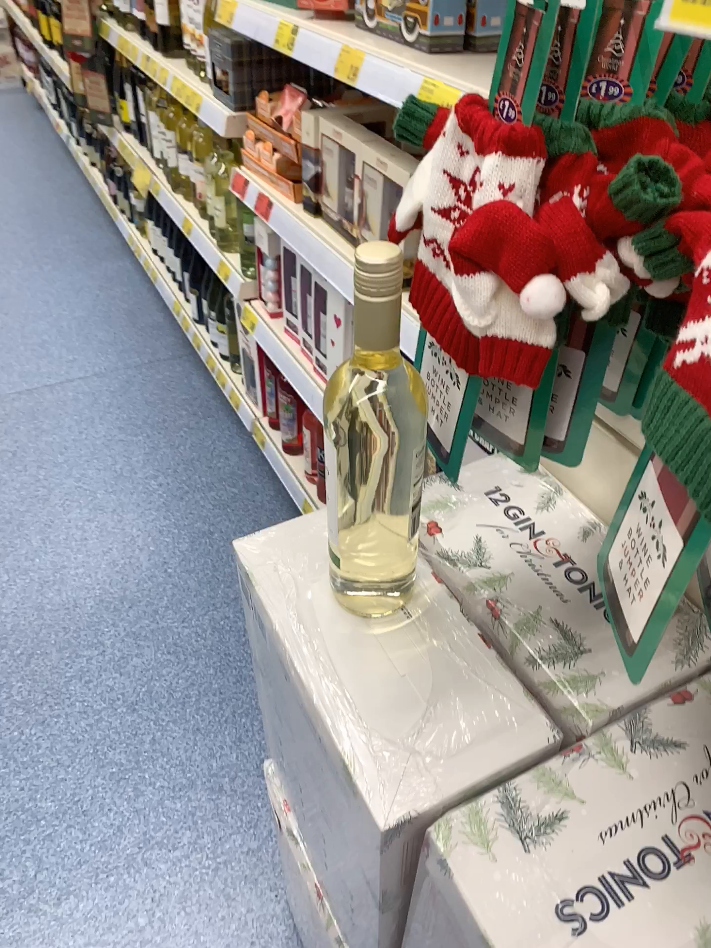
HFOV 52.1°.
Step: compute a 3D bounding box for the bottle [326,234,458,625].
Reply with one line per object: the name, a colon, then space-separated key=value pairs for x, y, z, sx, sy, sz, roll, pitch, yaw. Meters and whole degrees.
bottle: x=0.020 y=-0.016 z=0.521 sx=0.073 sy=0.285 sz=0.073 roll=1 pitch=39 yaw=-1
